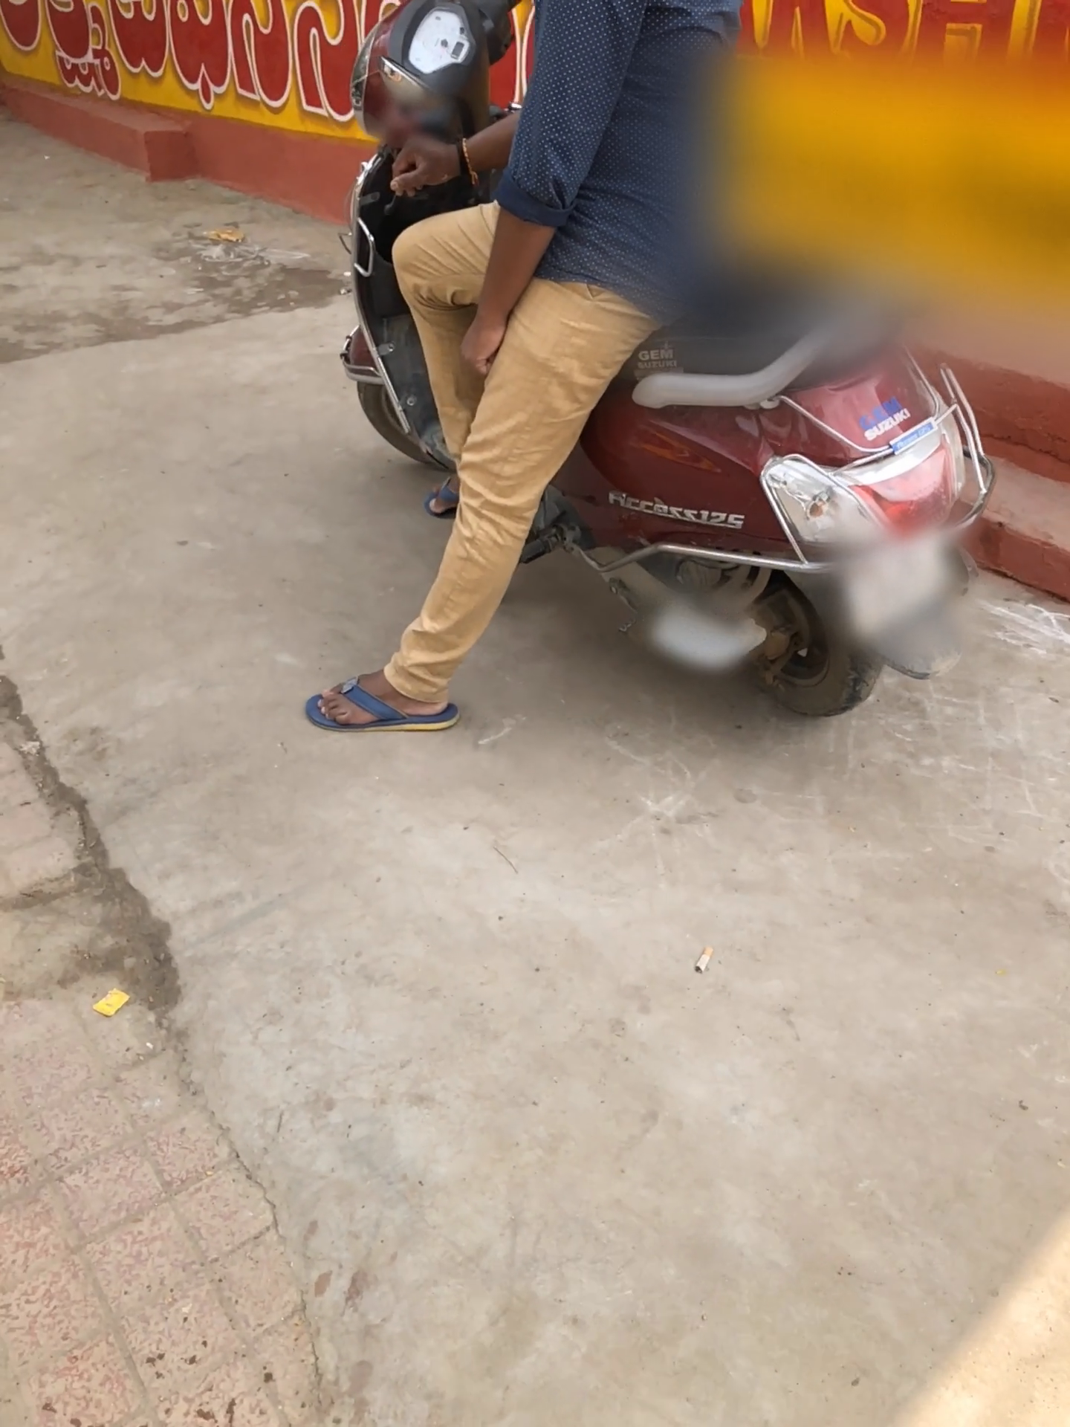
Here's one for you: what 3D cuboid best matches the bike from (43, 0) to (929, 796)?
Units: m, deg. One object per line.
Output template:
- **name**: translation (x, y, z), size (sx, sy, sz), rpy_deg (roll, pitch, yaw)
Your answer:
- **bike**: translation (-0.186, -0.721, 2.176), size (0.631, 1.087, 1.378), rpy_deg (-24, 42, -35)
